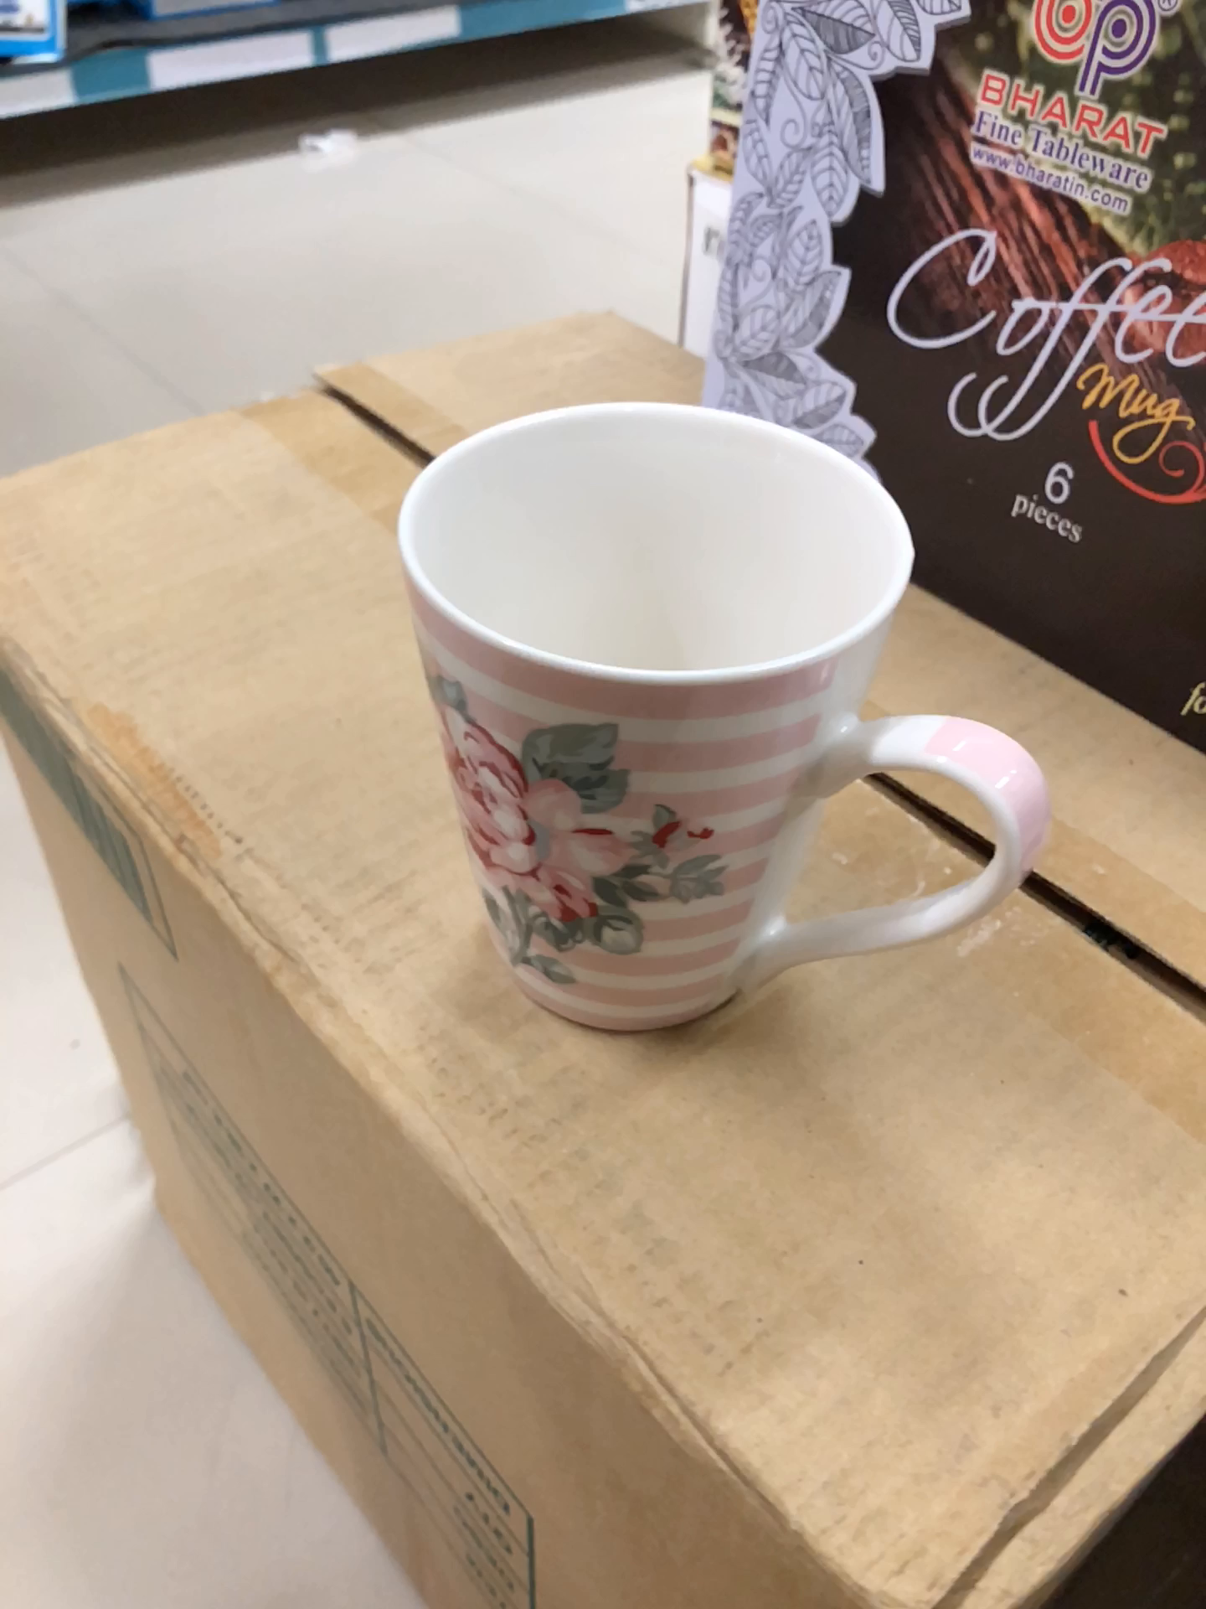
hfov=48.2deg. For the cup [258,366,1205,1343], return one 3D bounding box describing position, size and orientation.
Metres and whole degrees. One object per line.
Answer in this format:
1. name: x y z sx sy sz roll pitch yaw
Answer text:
1. cup: 0.021 -0.001 0.240 0.130 0.089 0.091 34 51 30
